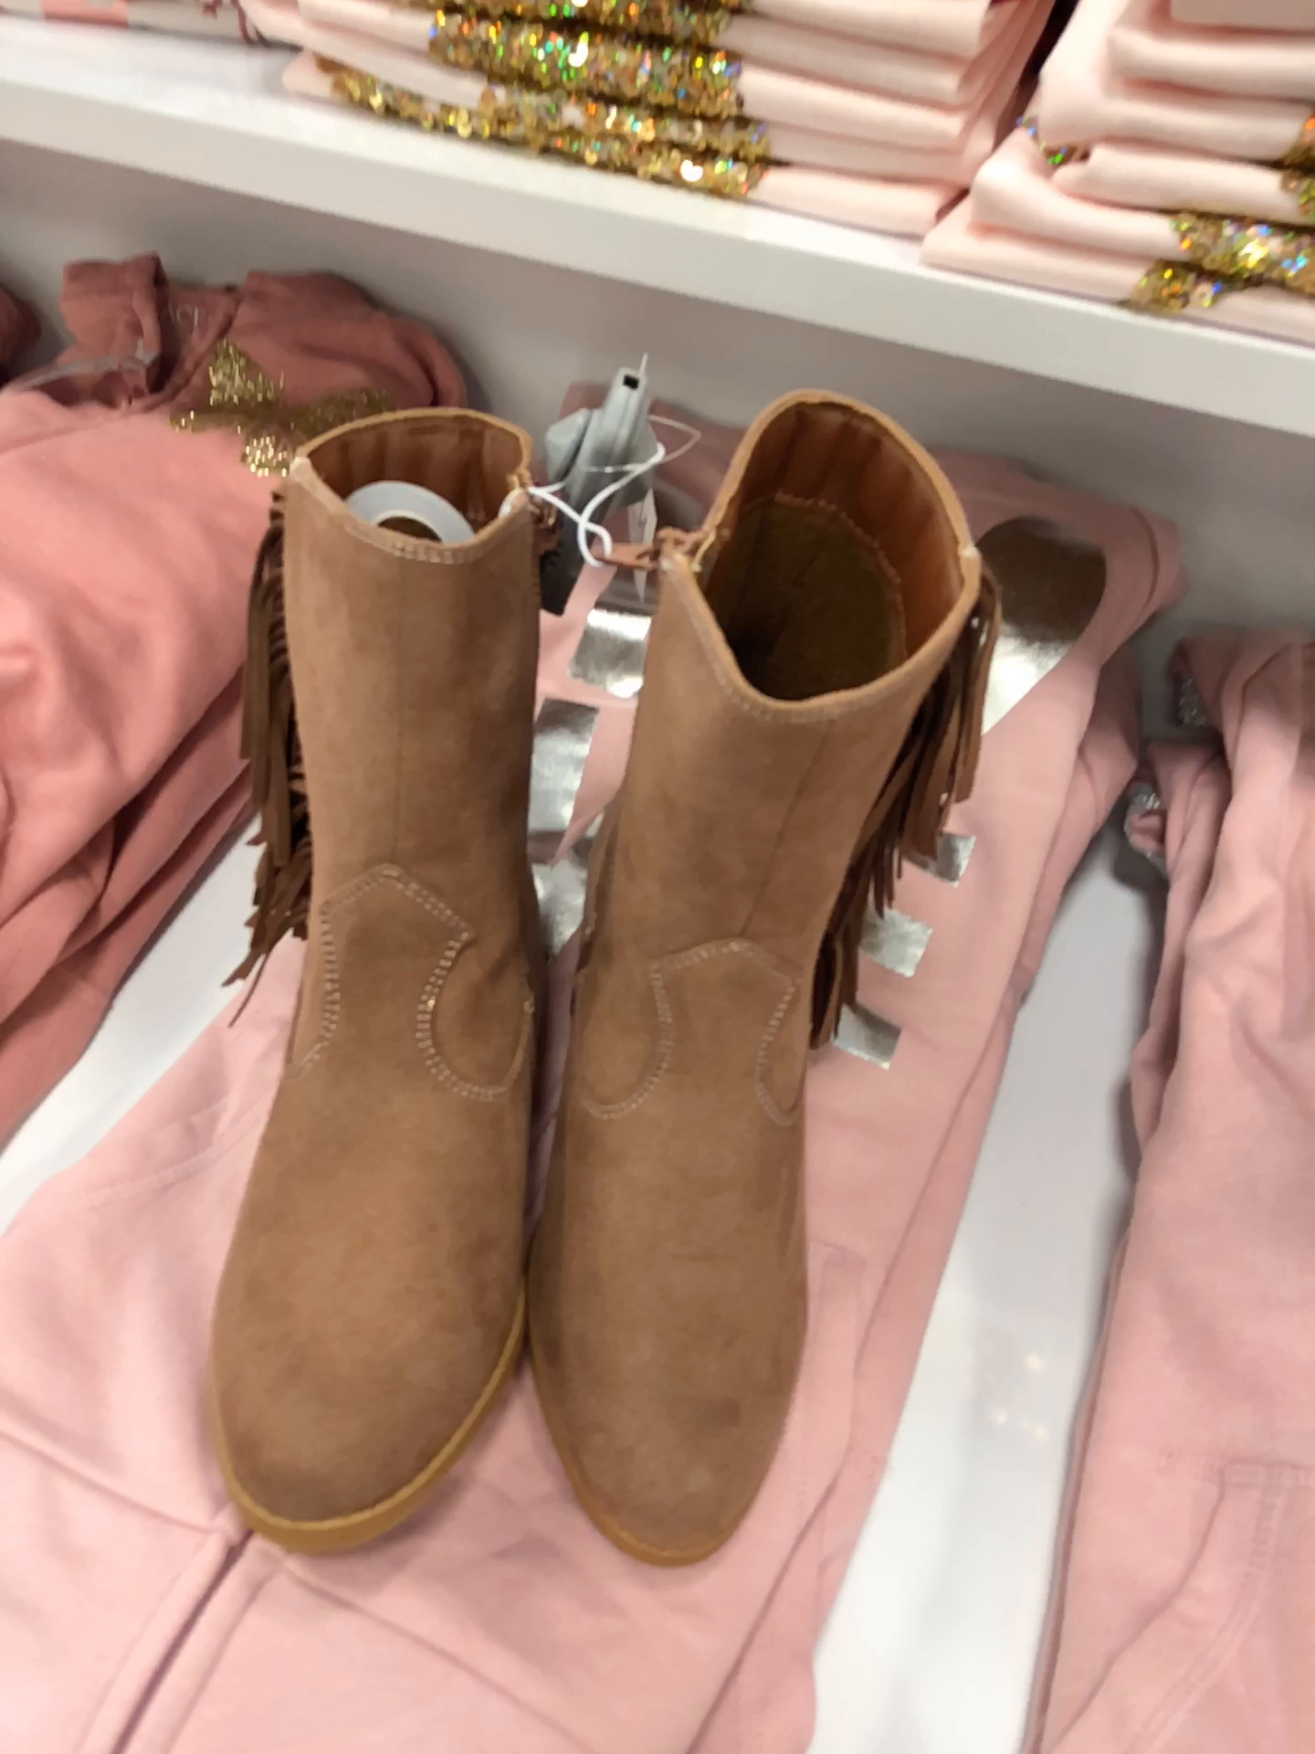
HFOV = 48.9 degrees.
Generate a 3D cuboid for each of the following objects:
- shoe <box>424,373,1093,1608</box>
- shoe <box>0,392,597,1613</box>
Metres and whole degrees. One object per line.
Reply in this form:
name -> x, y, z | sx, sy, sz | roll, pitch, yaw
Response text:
shoe -> 0.015, 0.027, 0.344 | 0.092, 0.200, 0.210 | 2, 47, 0
shoe -> -0.067, 0.025, 0.341 | 0.092, 0.200, 0.200 | 2, 40, 0
